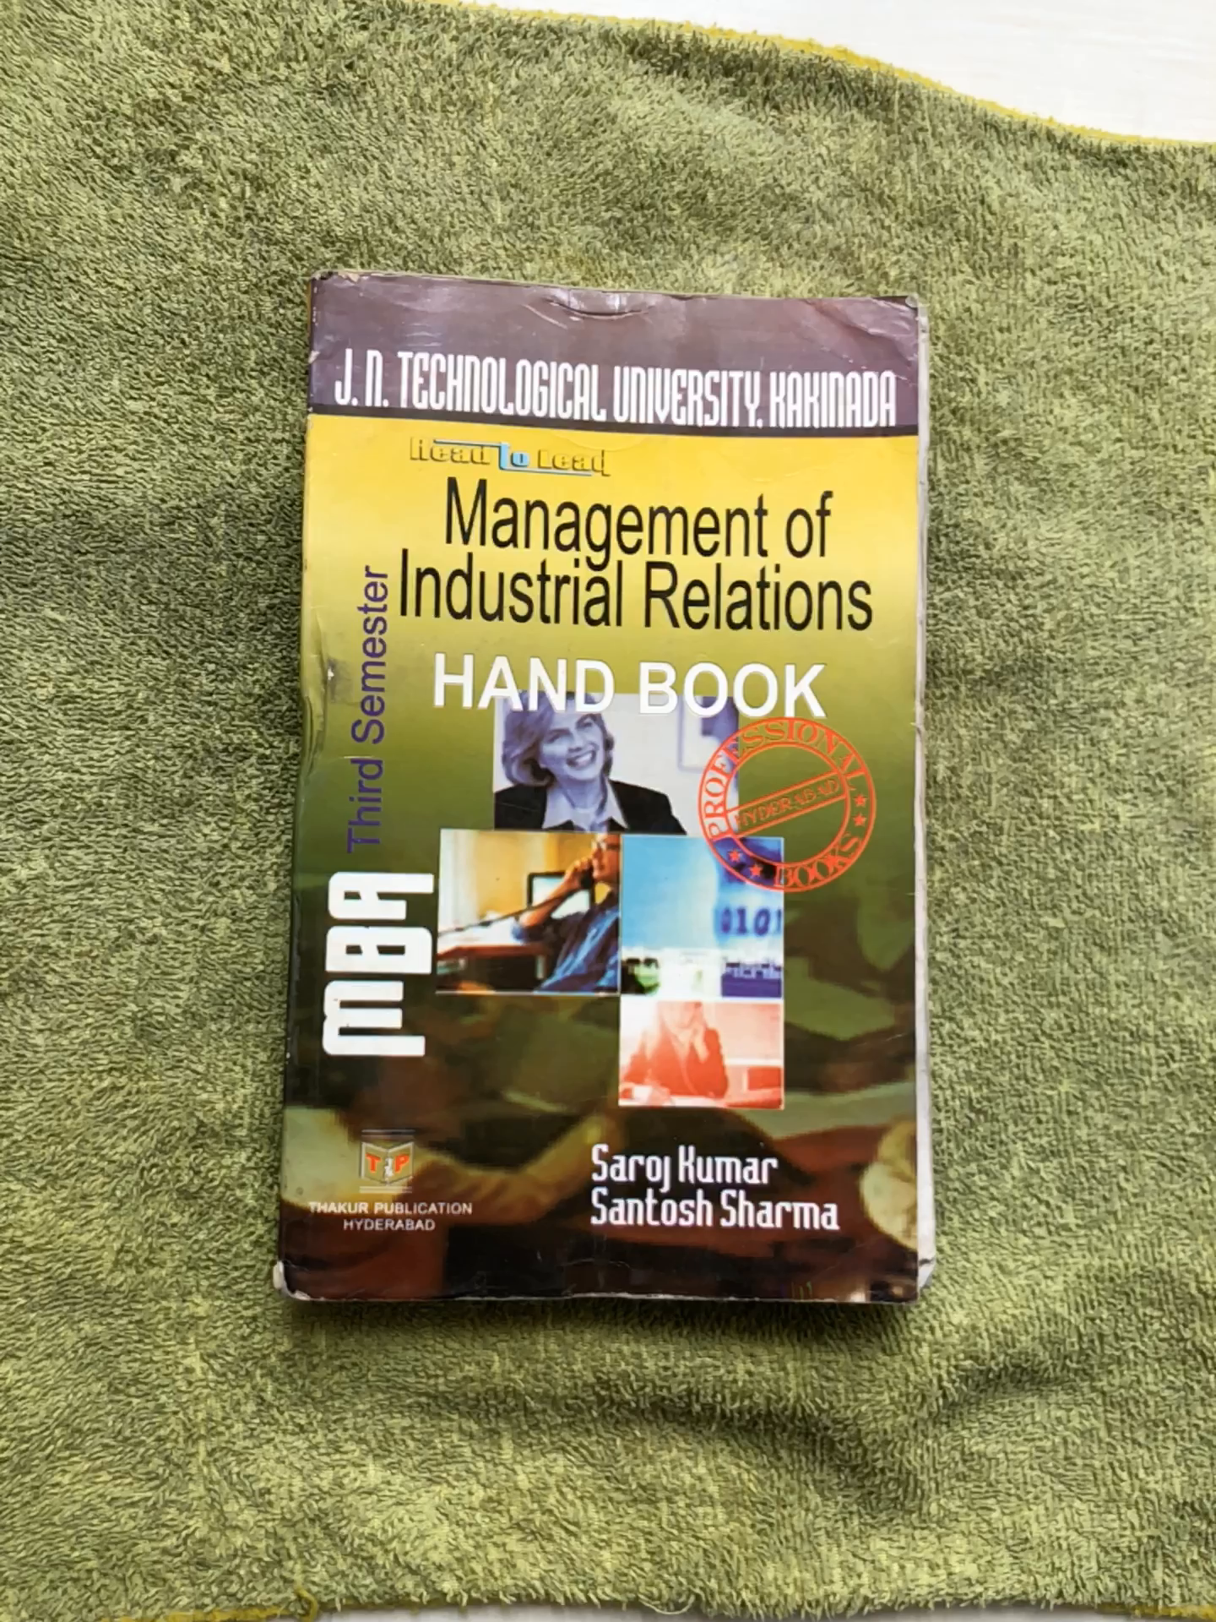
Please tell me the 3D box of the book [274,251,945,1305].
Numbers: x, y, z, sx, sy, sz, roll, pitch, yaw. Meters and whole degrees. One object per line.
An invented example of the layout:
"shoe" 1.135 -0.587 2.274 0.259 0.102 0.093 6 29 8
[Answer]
"book" 0.001 -0.006 0.316 0.140 0.050 0.220 2 84 -8
